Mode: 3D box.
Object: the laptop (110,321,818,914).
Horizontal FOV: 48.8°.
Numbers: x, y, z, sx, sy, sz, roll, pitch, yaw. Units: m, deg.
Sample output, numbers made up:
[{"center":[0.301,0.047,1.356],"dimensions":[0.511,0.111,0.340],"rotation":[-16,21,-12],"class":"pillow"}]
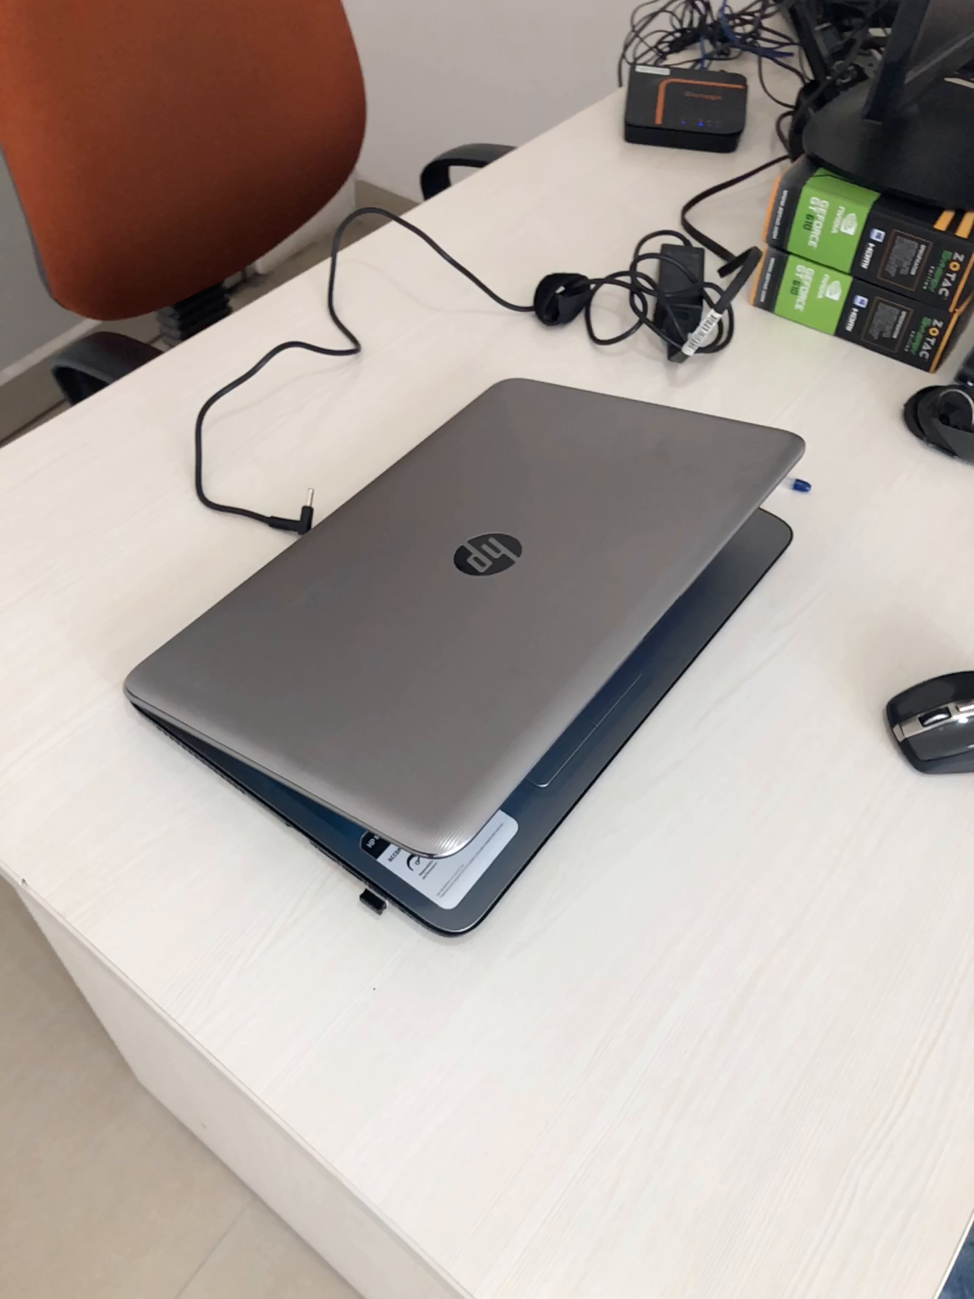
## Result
[{"center":[0.003,-0.049,0.634],"dimensions":[0.226,0.062,0.357],"rotation":[31,55,22],"class":"laptop"}]
